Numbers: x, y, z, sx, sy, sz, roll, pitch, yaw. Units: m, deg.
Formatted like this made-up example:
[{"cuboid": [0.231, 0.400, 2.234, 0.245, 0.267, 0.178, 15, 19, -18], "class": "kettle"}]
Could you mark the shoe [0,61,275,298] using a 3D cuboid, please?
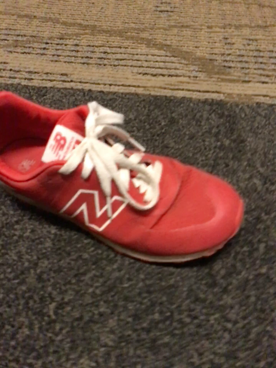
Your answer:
[{"cuboid": [-0.029, -0.008, 0.269, 0.256, 0.107, 0.101, 17, 56, 12], "class": "shoe"}]
